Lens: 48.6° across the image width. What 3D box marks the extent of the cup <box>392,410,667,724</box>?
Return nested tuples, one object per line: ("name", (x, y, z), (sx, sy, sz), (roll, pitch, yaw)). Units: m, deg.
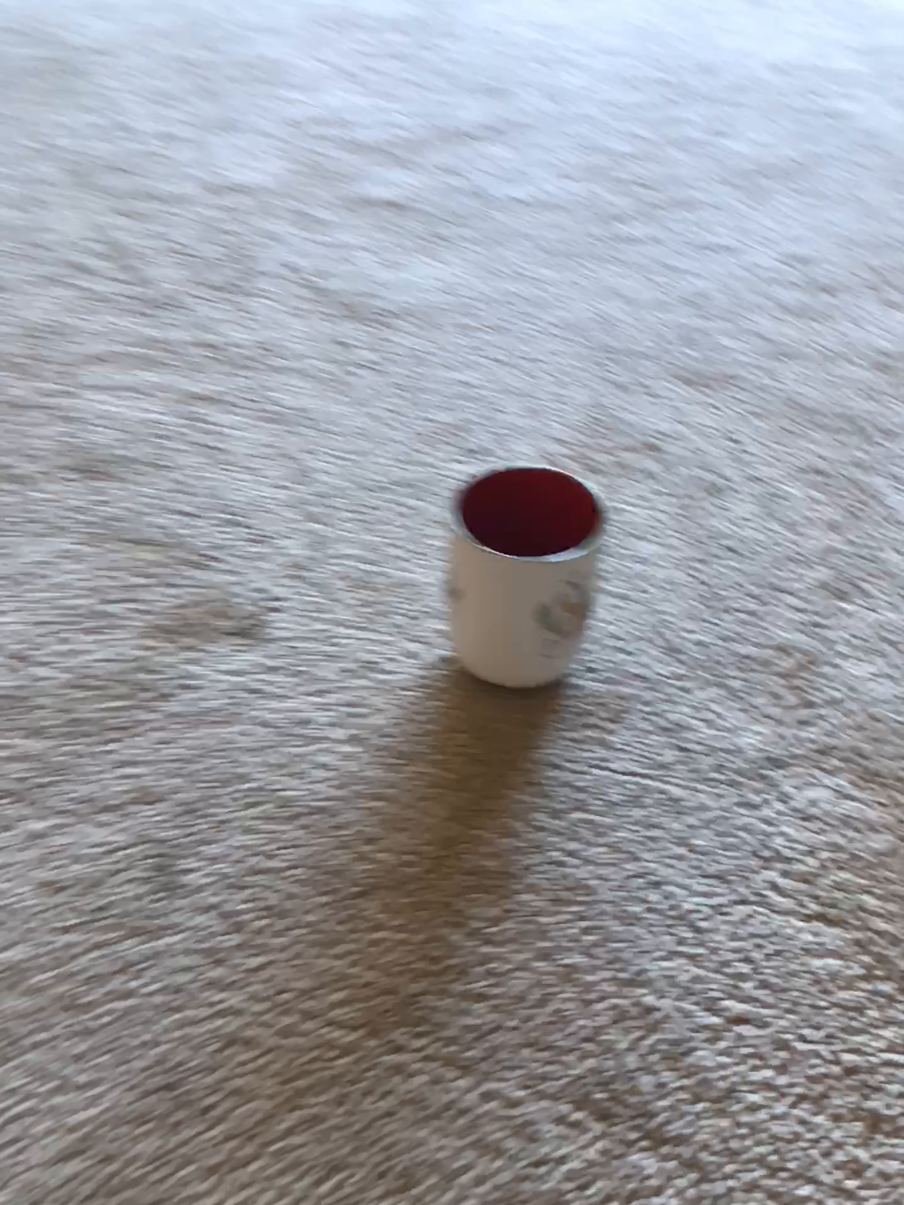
("cup", (0.046, -0.025, 0.574), (0.100, 0.090, 0.140), (20, 47, 20))
